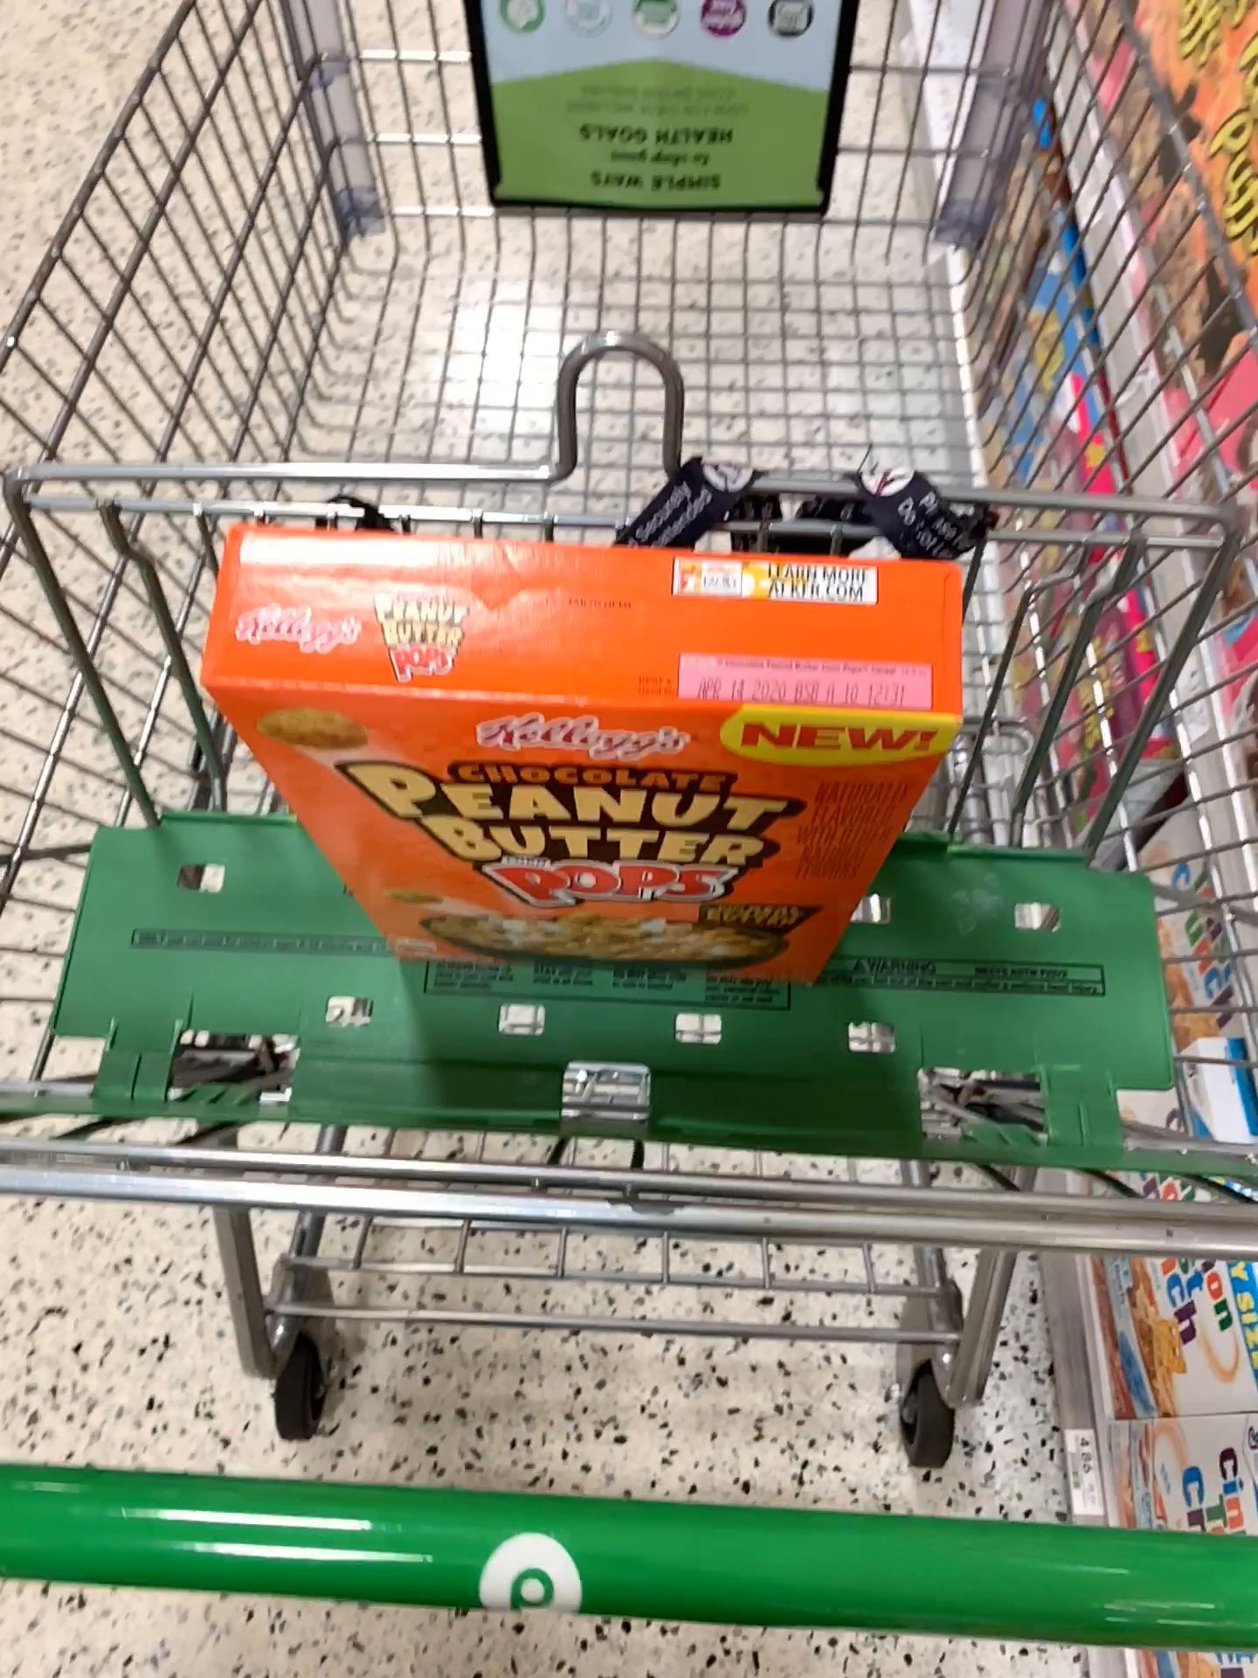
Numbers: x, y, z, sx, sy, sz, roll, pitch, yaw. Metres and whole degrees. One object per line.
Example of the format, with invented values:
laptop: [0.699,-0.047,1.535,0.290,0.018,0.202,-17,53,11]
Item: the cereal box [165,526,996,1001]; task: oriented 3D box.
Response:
cereal box: [-0.011,-0.004,0.456,0.200,0.289,0.050,3,71,1]
